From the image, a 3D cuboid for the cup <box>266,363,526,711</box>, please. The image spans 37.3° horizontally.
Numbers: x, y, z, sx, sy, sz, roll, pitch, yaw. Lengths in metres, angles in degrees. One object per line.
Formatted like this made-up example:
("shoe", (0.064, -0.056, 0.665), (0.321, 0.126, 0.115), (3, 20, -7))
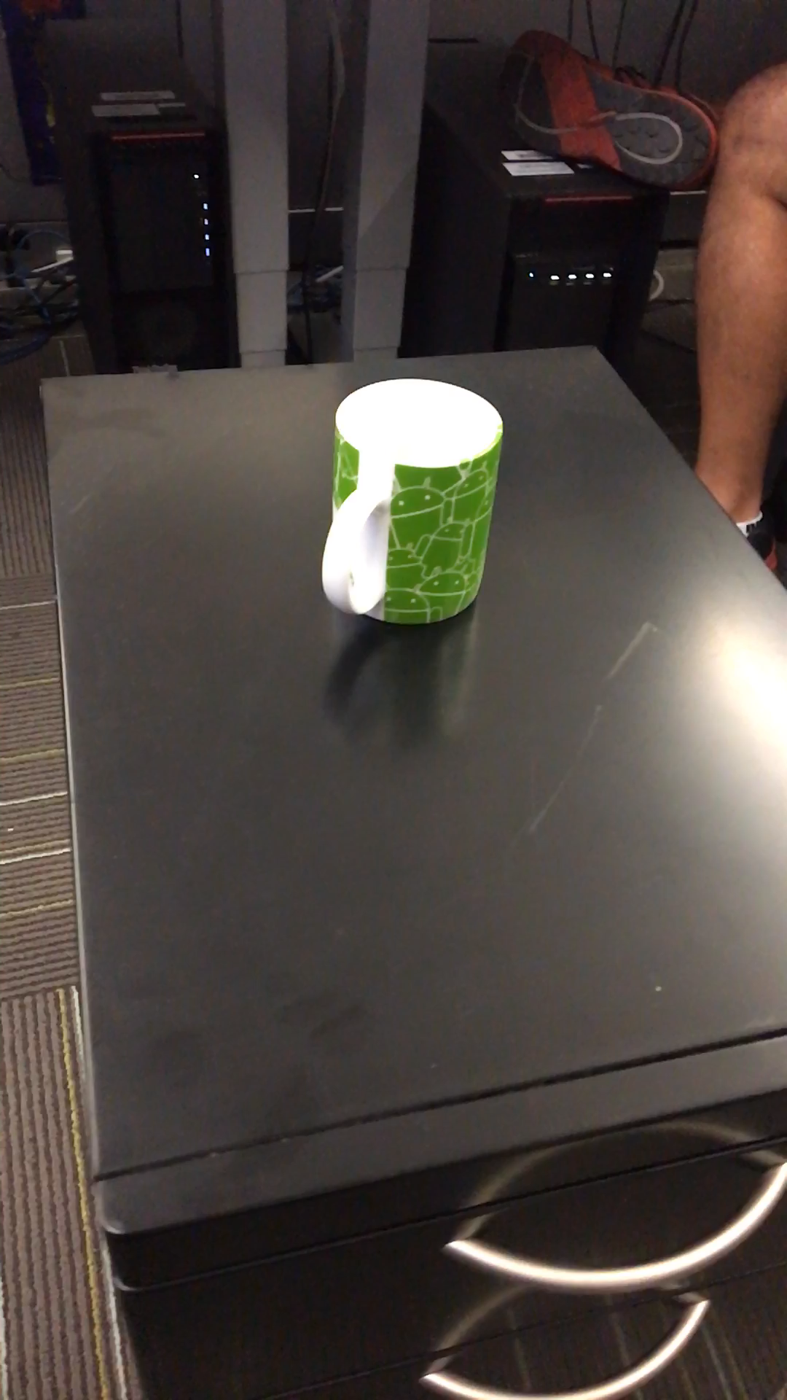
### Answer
("cup", (0.001, -0.084, 0.589), (0.090, 0.110, 0.120), (16, 44, 11))
